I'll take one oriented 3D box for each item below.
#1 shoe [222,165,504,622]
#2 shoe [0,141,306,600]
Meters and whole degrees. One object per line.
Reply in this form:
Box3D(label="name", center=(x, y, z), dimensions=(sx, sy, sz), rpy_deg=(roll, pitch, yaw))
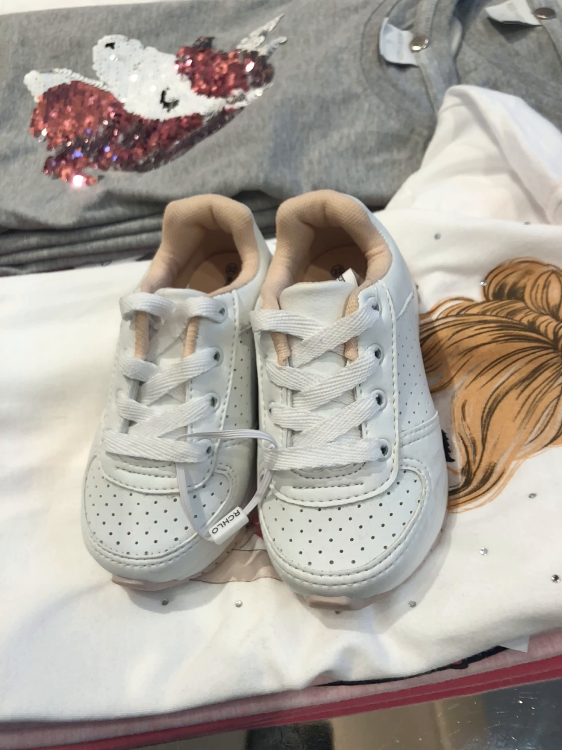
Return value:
Box3D(label="shoe", center=(0.026, 0.005, 0.238), dimensions=(0.080, 0.060, 0.161), rpy_deg=(0, 67, 3))
Box3D(label="shoe", center=(-0.044, -0.005, 0.248), dimensions=(0.080, 0.060, 0.161), rpy_deg=(8, 68, 8))
